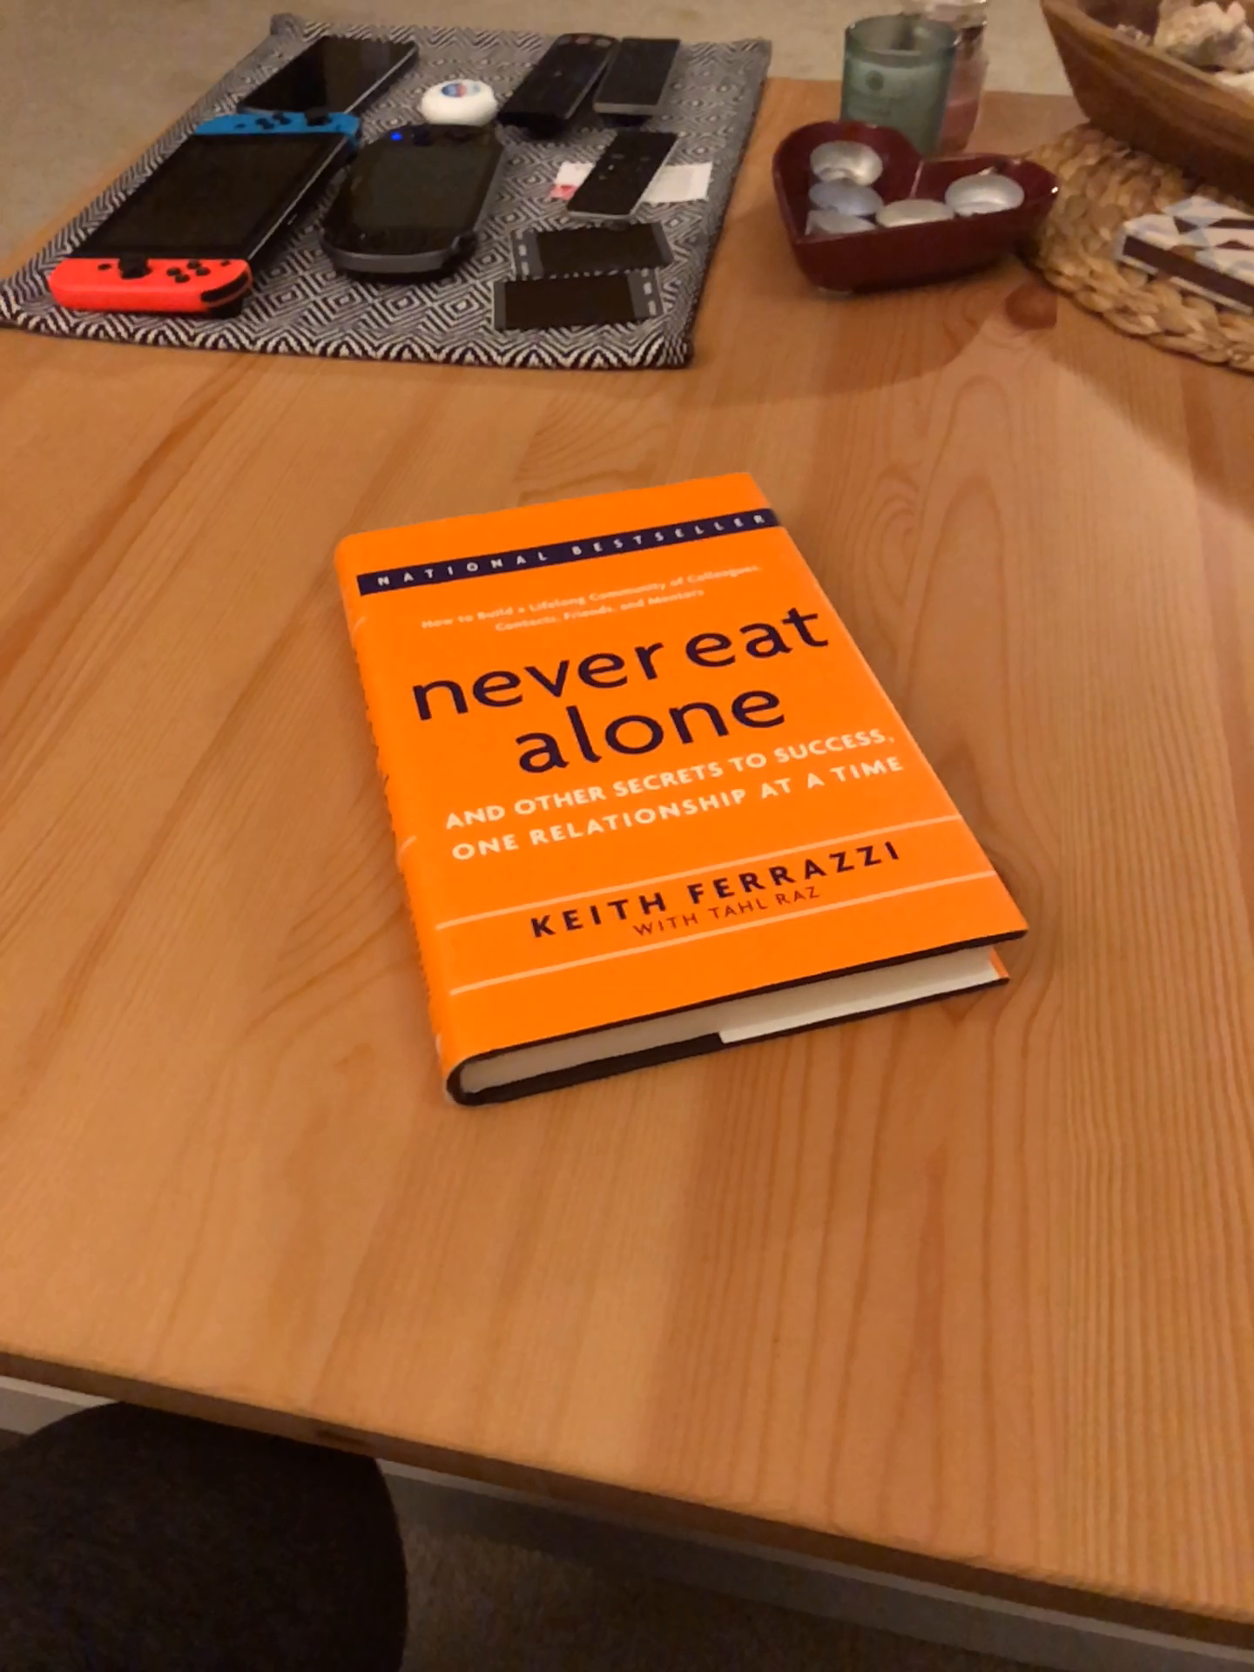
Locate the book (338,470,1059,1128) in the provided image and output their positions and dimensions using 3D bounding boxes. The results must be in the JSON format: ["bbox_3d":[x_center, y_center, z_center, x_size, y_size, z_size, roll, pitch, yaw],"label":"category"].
[{"bbox_3d":[0.006,-0.033,0.449,0.166,0.025,0.241,-11,47,-10],"label":"book"}]
